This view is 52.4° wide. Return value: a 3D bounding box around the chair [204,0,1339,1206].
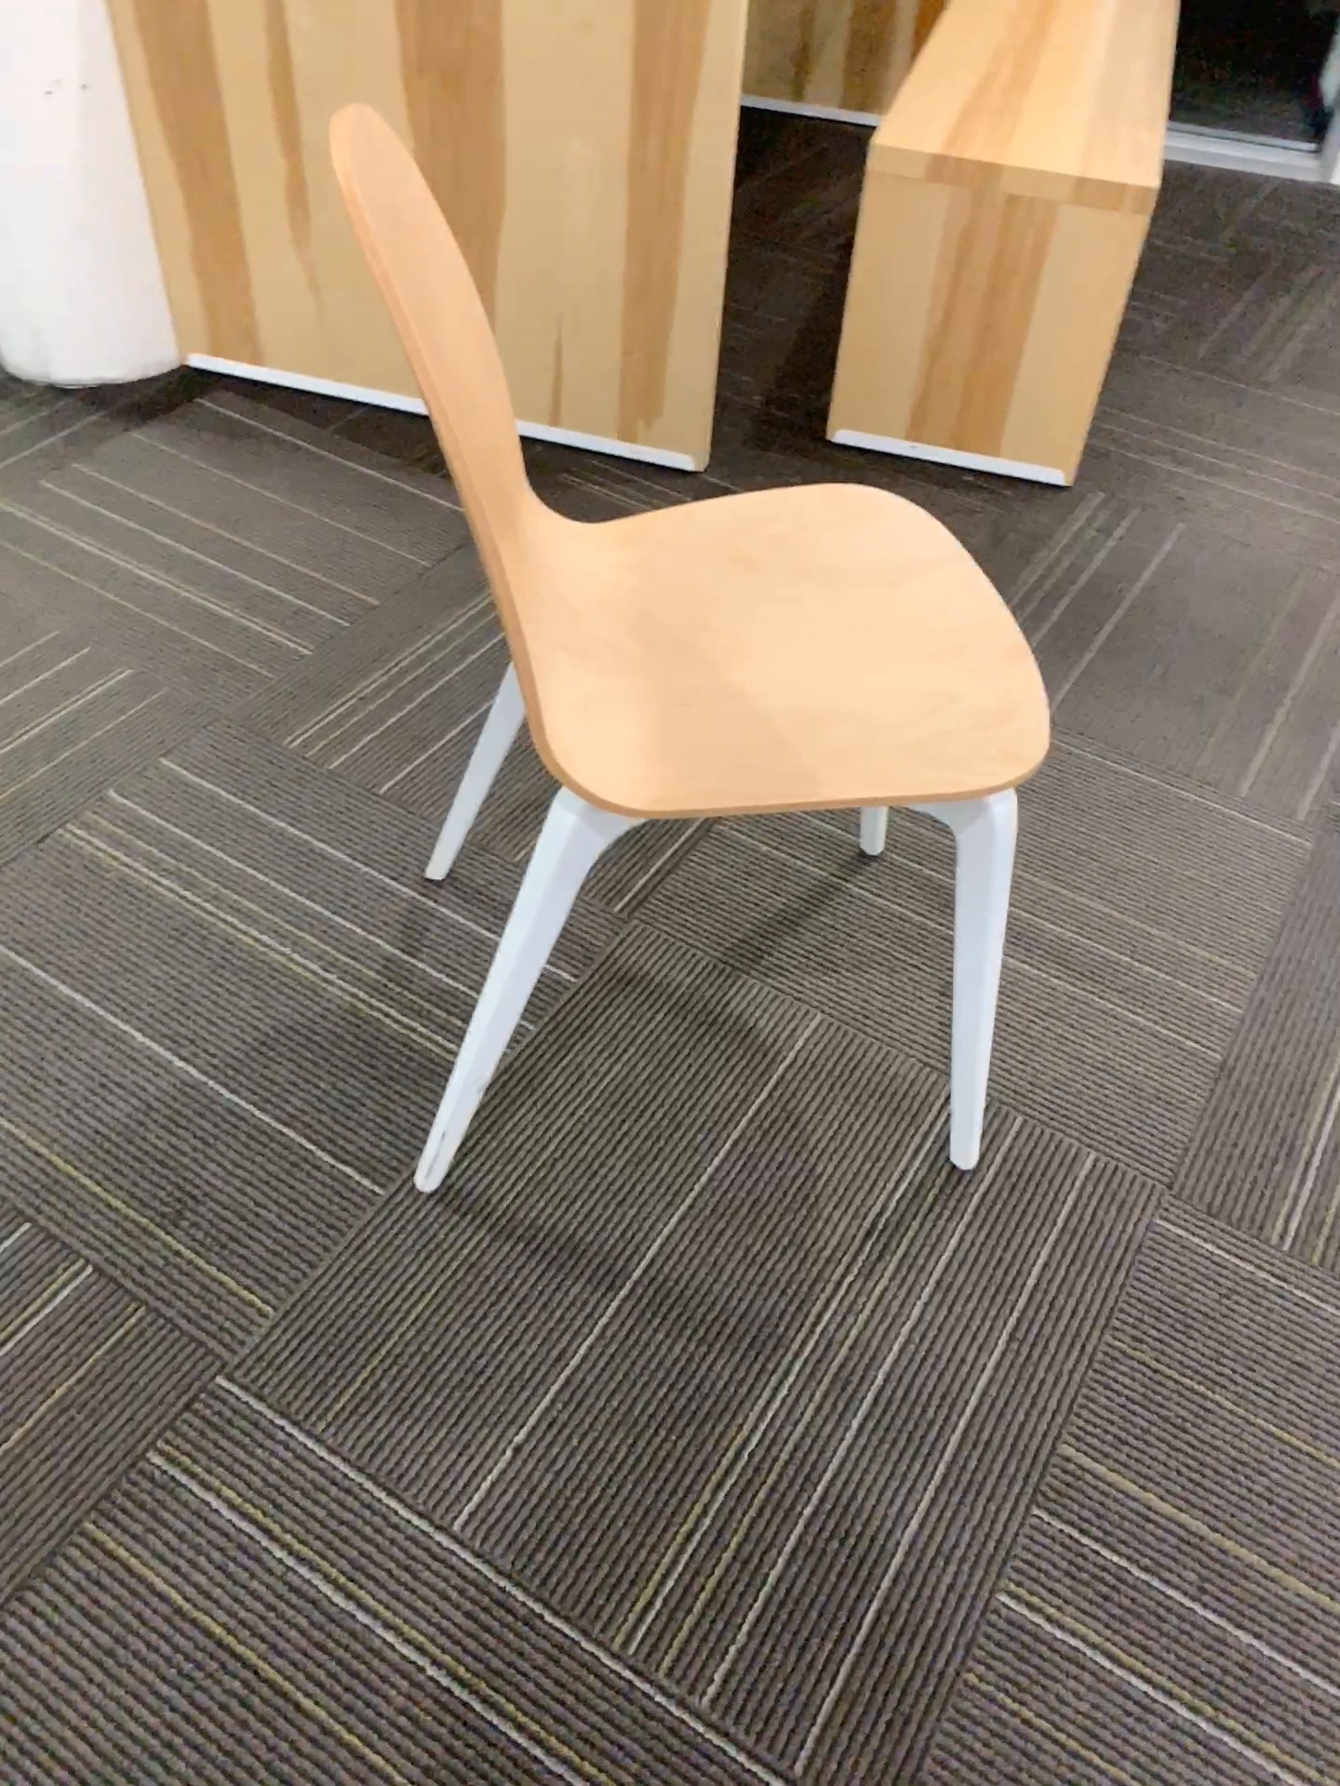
[{"bbox_3d":[0.027,-0.183,1.103,0.570,0.826,0.463,-2,46,-6],"label":"chair"}]
